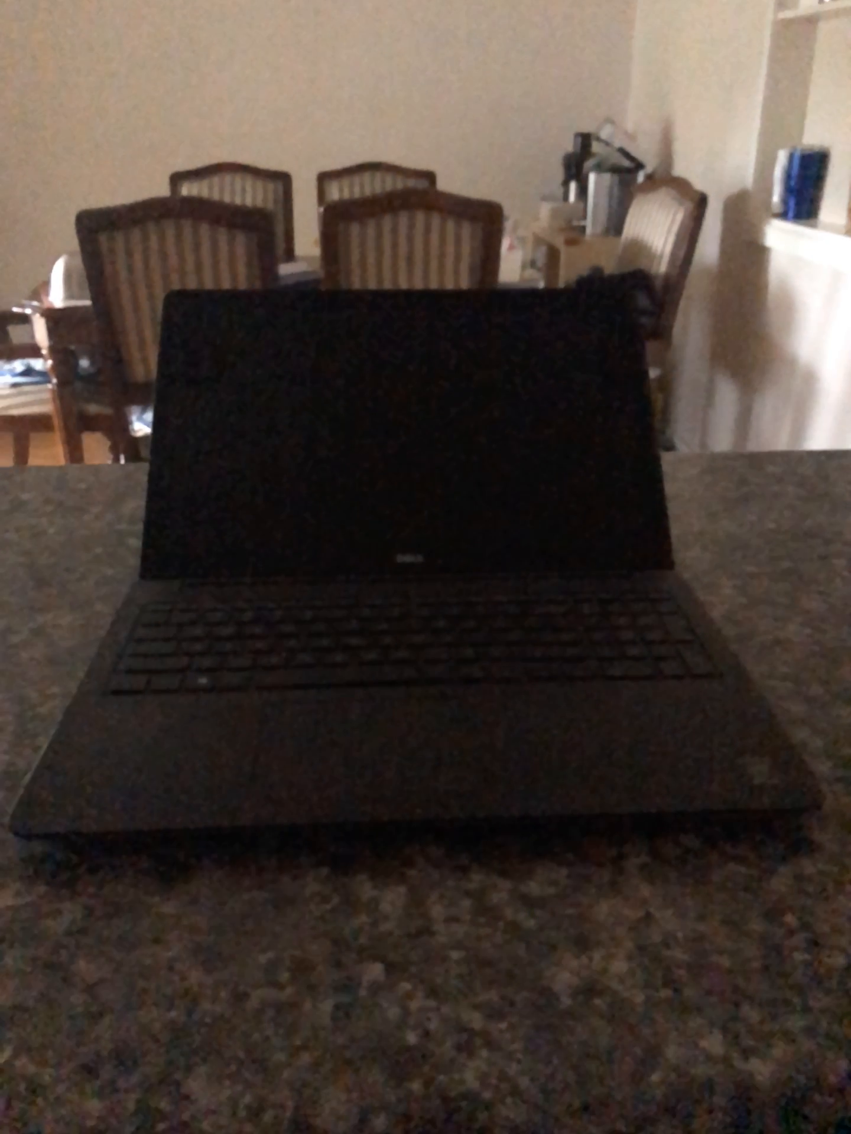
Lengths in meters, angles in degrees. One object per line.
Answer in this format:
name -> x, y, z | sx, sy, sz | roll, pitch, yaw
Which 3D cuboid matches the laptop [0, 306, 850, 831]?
laptop -> -0.007, -0.045, 0.578 | 0.361, 0.158, 0.416 | -1, 25, -2
